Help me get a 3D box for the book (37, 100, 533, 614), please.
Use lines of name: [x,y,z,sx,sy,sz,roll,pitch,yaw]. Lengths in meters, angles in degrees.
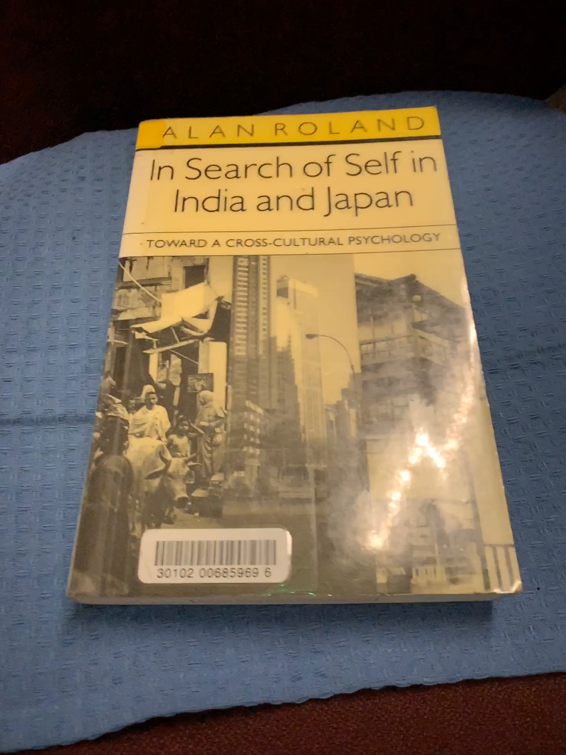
book: [0.000,-0.026,0.252,0.155,0.032,0.233,-1,62,2]
